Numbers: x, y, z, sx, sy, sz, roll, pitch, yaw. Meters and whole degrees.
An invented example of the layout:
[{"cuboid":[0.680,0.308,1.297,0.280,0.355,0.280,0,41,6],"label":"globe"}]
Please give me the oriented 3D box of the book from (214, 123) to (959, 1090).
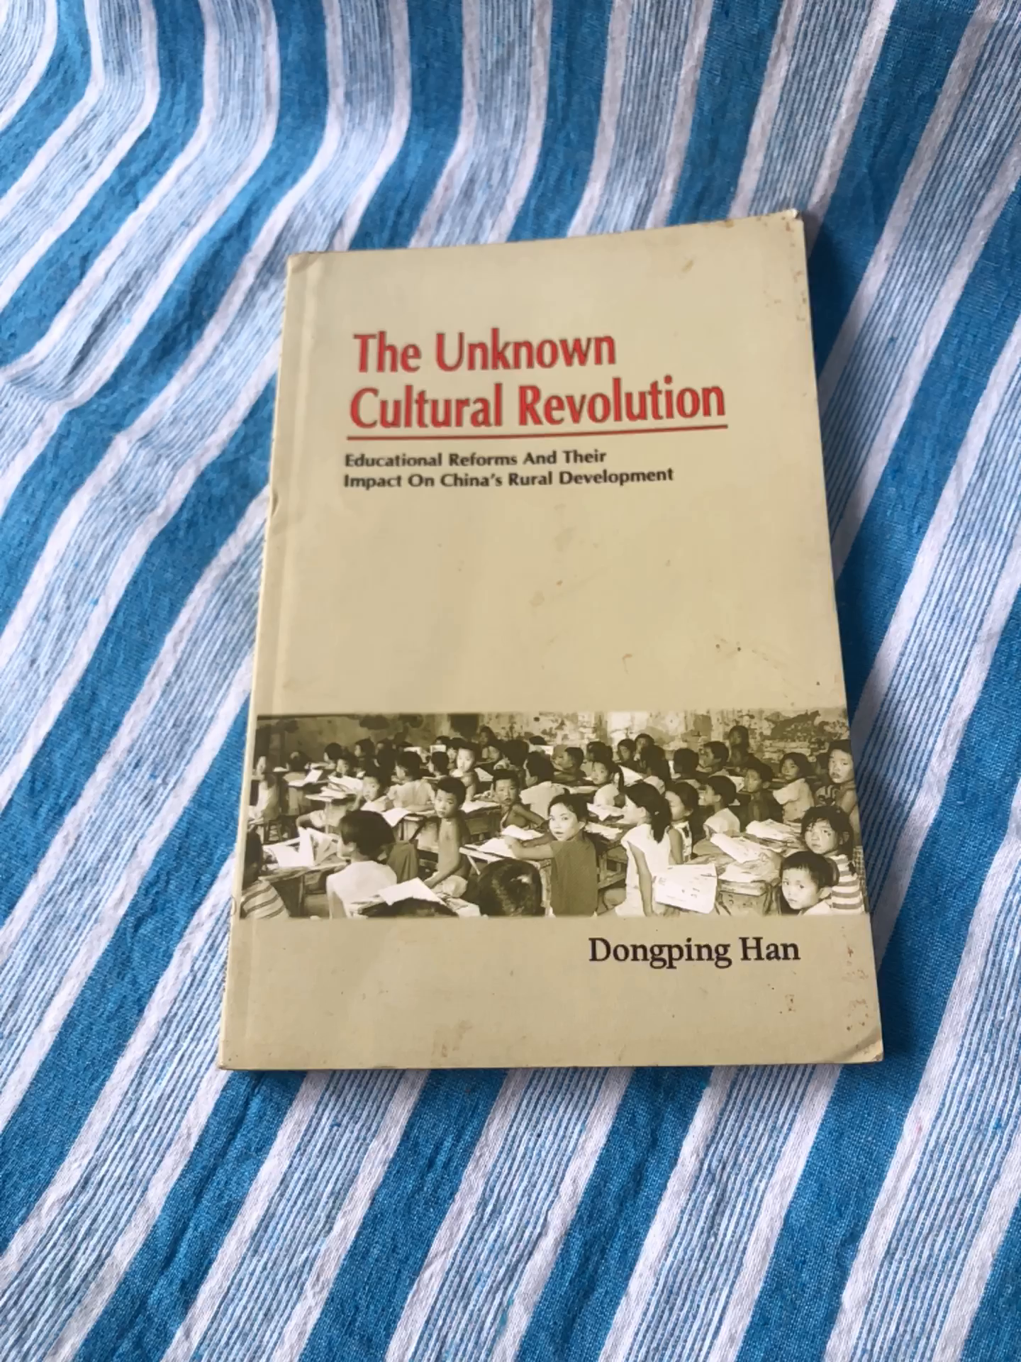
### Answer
[{"cuboid":[0.015,-0.028,0.266,0.140,0.020,0.230,-3,67,10],"label":"book"}]
